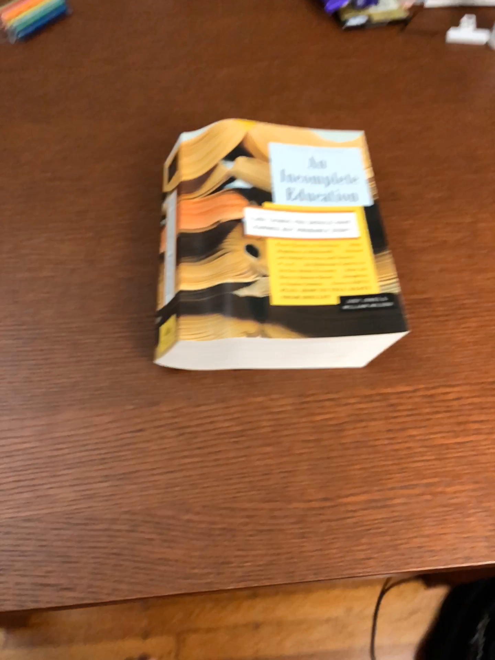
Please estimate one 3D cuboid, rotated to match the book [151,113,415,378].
[{"bbox_3d":[0.018,-0.082,0.514,0.210,0.060,0.251,1,60,-11],"label":"book"}]
